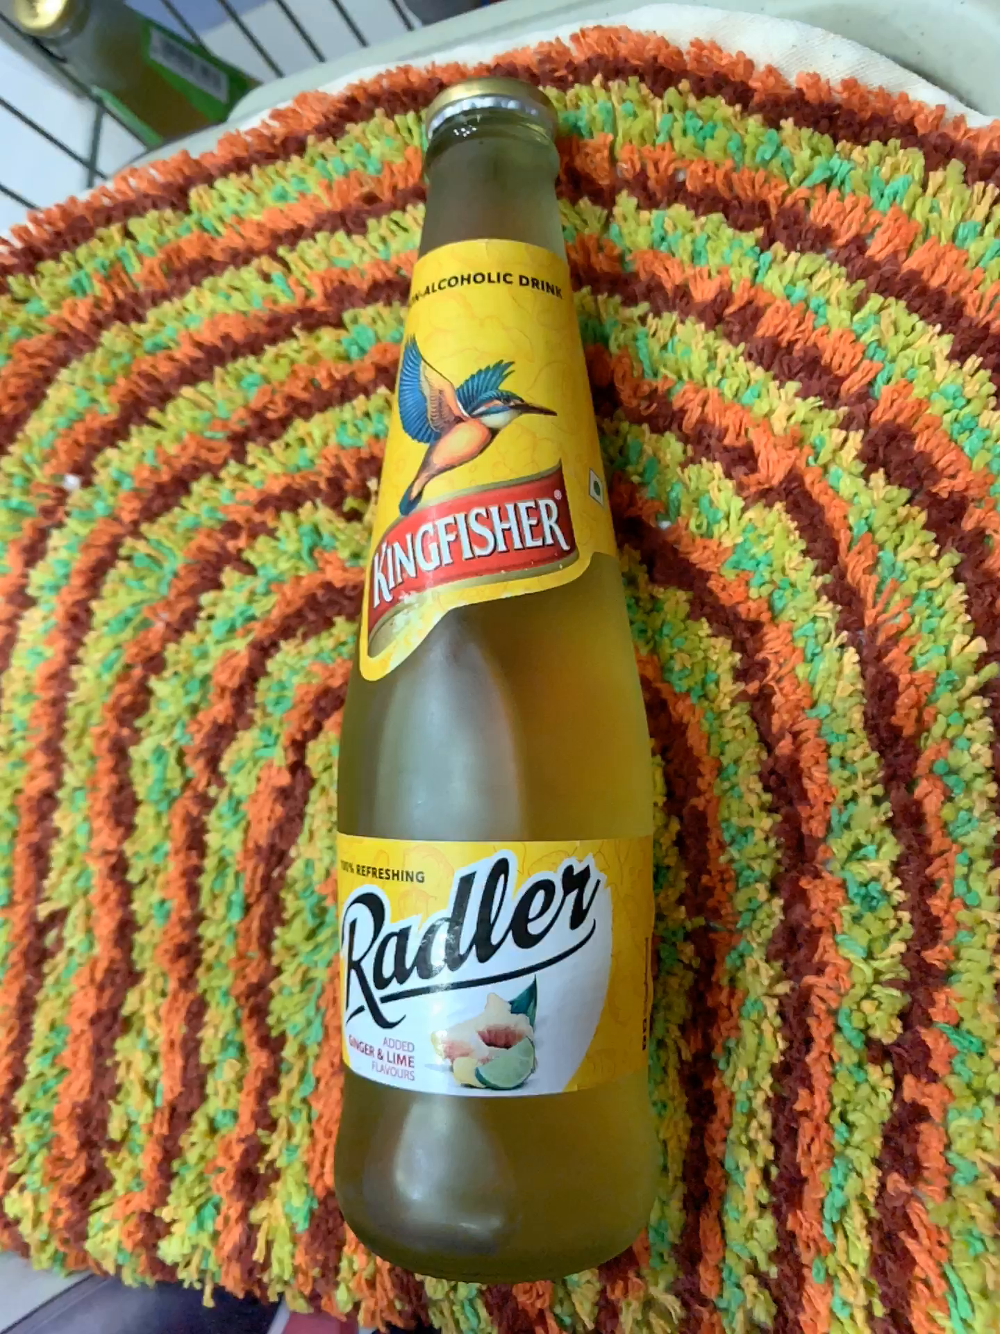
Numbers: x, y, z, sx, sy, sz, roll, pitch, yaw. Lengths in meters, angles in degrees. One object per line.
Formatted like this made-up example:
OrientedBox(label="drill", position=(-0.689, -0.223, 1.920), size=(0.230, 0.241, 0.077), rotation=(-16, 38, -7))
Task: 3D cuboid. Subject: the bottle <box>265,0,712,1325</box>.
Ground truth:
OrientedBox(label="bottle", position=(0.001, -0.014, 0.197), size=(0.060, 0.060, 0.220), rotation=(-2, 84, 23))
